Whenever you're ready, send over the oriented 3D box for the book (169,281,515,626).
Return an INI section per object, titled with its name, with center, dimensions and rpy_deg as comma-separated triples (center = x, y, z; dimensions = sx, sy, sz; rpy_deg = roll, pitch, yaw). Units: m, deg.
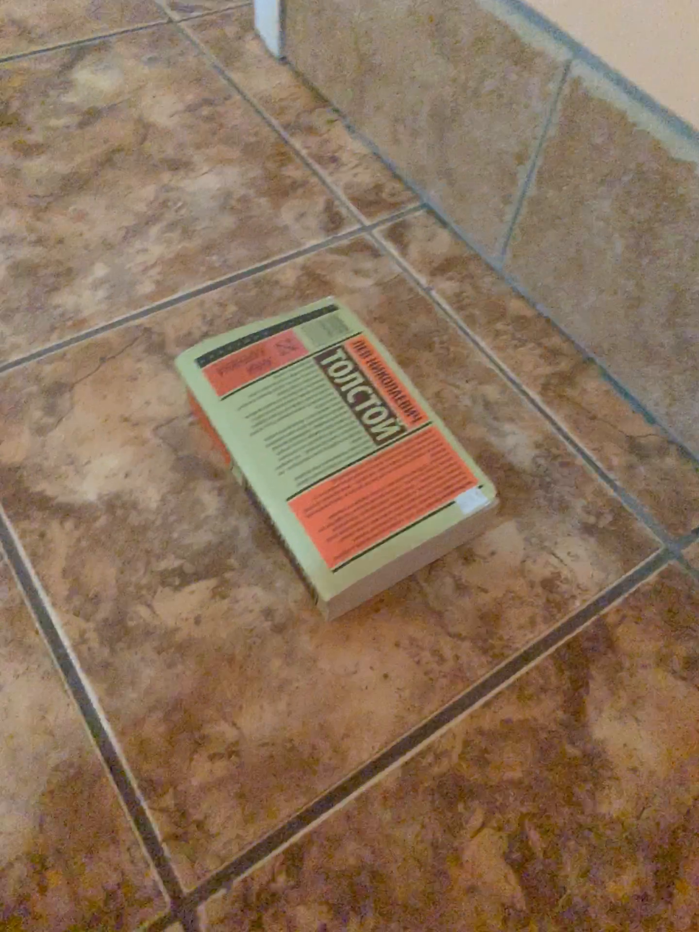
[book]
center = -0.010, -0.017, 0.431
dimensions = 0.120, 0.044, 0.185
rpy_deg = -27, 65, -21
